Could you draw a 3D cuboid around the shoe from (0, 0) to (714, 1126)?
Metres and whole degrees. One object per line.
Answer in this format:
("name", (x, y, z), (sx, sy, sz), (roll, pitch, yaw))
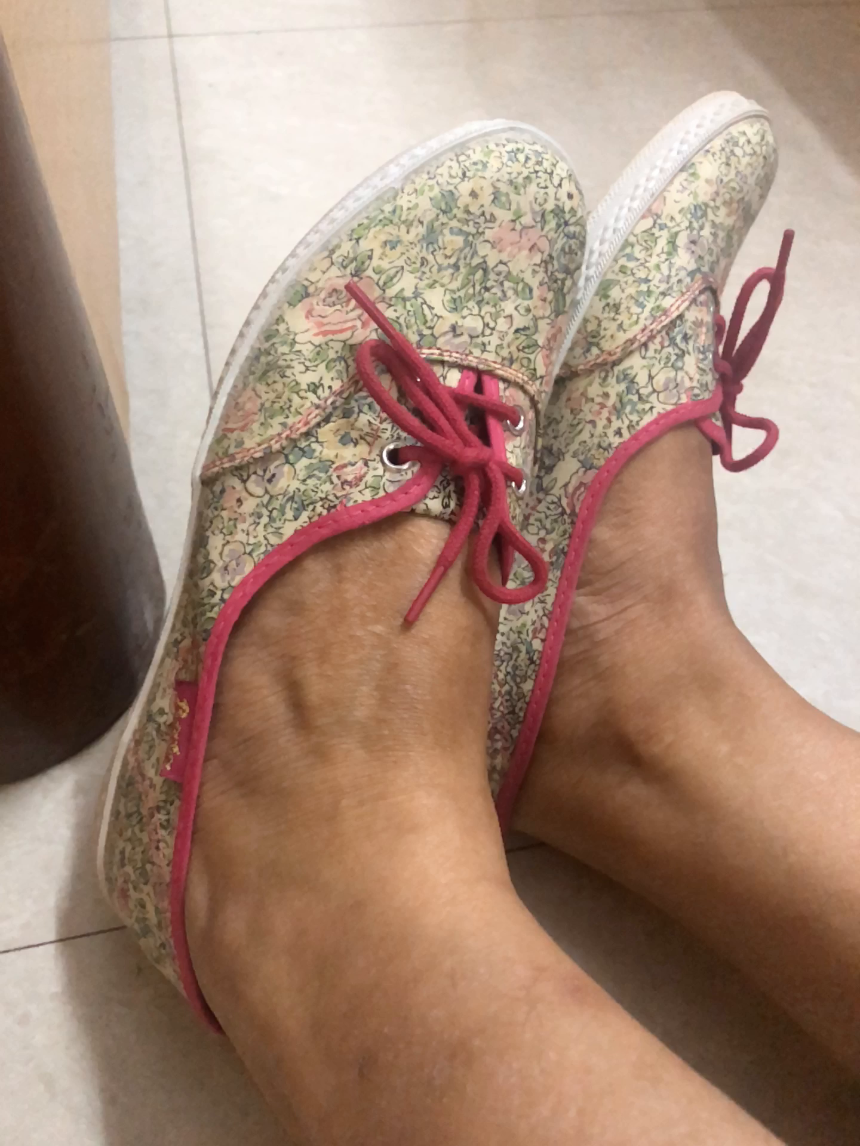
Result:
("shoe", (-0.021, 0.000, 0.260), (0.070, 0.090, 0.260), (21, 91, 52))

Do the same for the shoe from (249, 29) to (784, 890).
("shoe", (0.038, -0.035, 0.331), (0.070, 0.090, 0.260), (22, 89, 24))
